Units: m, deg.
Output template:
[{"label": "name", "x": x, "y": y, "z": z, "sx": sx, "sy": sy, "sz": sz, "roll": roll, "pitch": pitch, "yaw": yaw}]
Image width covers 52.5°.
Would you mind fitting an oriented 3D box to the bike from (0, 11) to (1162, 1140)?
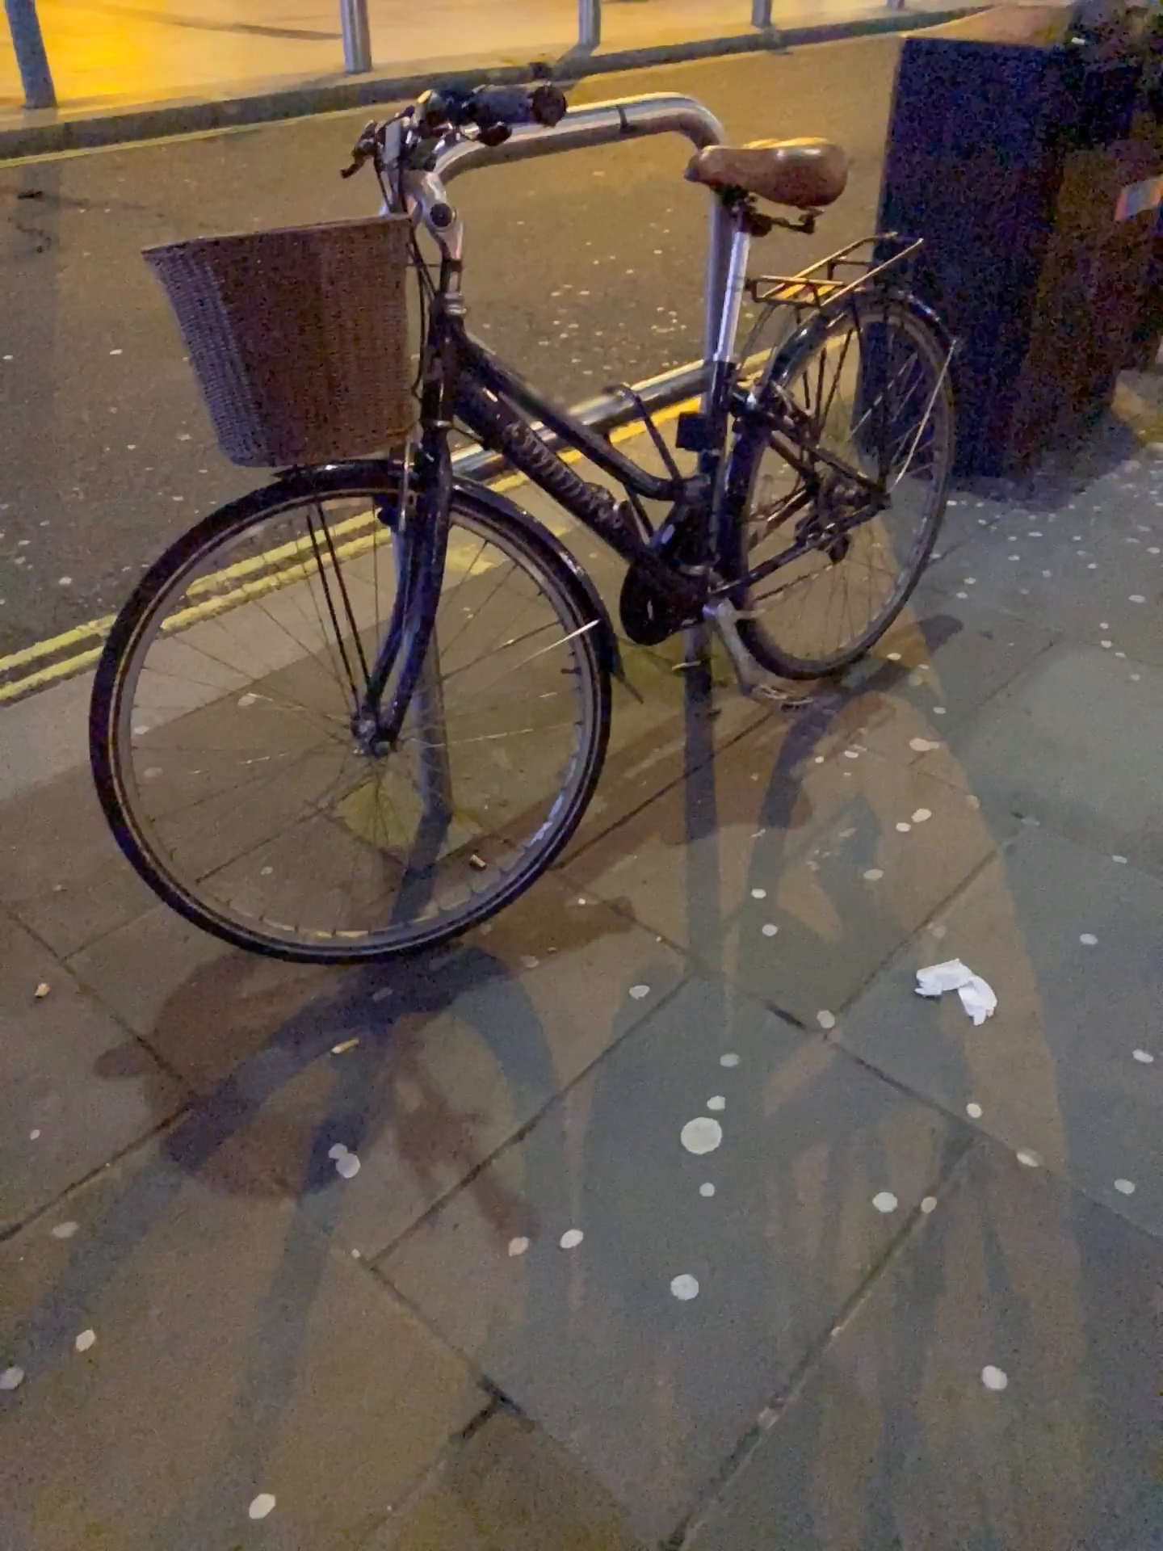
[{"label": "bike", "x": 0.051, "y": -0.464, "z": 1.844, "sx": 1.715, "sy": 1.063, "sz": 0.661, "roll": -29, "pitch": 45, "yaw": -31}]
